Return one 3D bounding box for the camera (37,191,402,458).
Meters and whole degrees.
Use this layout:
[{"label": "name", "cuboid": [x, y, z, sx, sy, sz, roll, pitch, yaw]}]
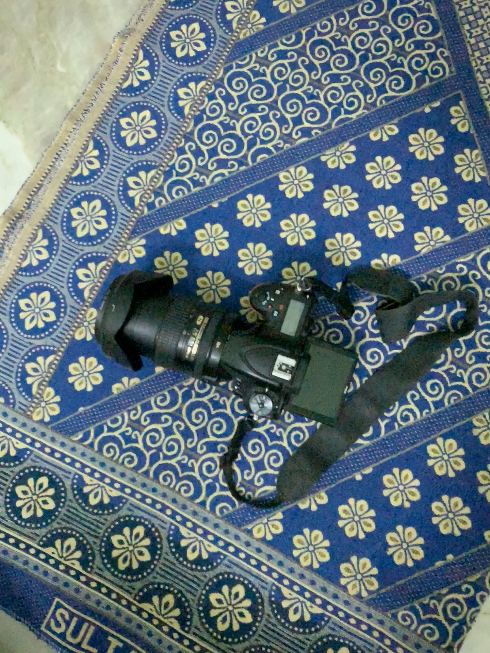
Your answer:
[{"label": "camera", "cuboid": [-0.025, -0.002, 0.541, 0.320, 0.110, 0.160, 20, 86, 7]}]
